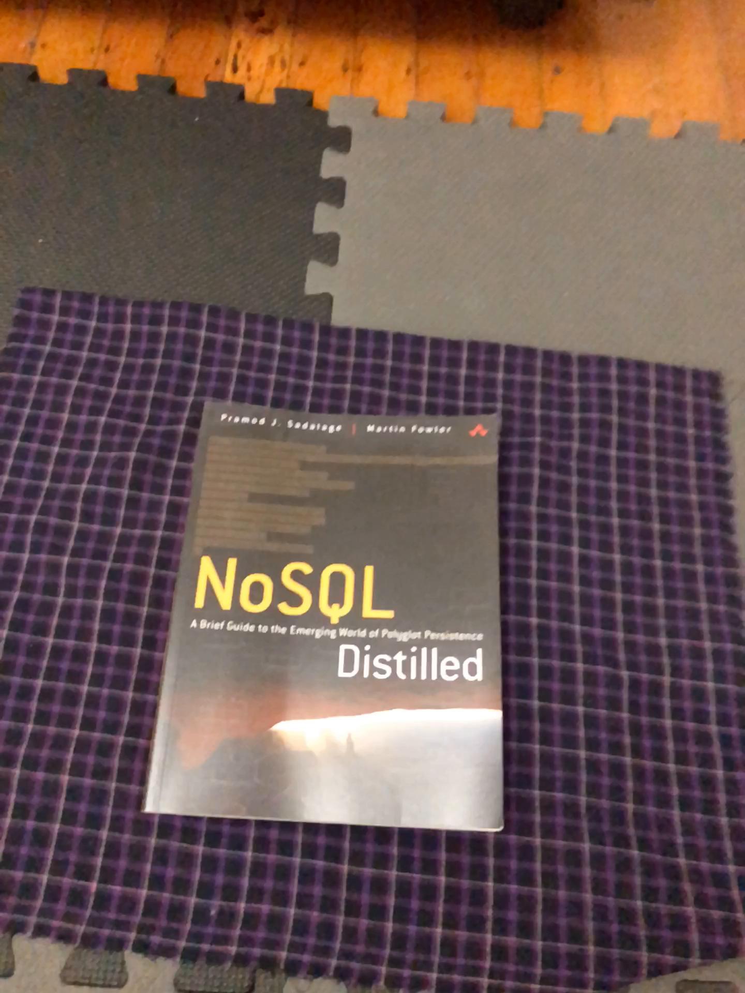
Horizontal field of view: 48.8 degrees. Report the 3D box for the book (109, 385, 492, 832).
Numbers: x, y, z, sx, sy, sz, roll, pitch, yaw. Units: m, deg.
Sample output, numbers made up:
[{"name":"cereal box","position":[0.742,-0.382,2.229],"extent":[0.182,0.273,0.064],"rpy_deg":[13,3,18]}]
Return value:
[{"name":"book","position":[-0.031,0.052,0.471],"extent":[0.190,0.020,0.251],"rpy_deg":[3,65,-1]}]
